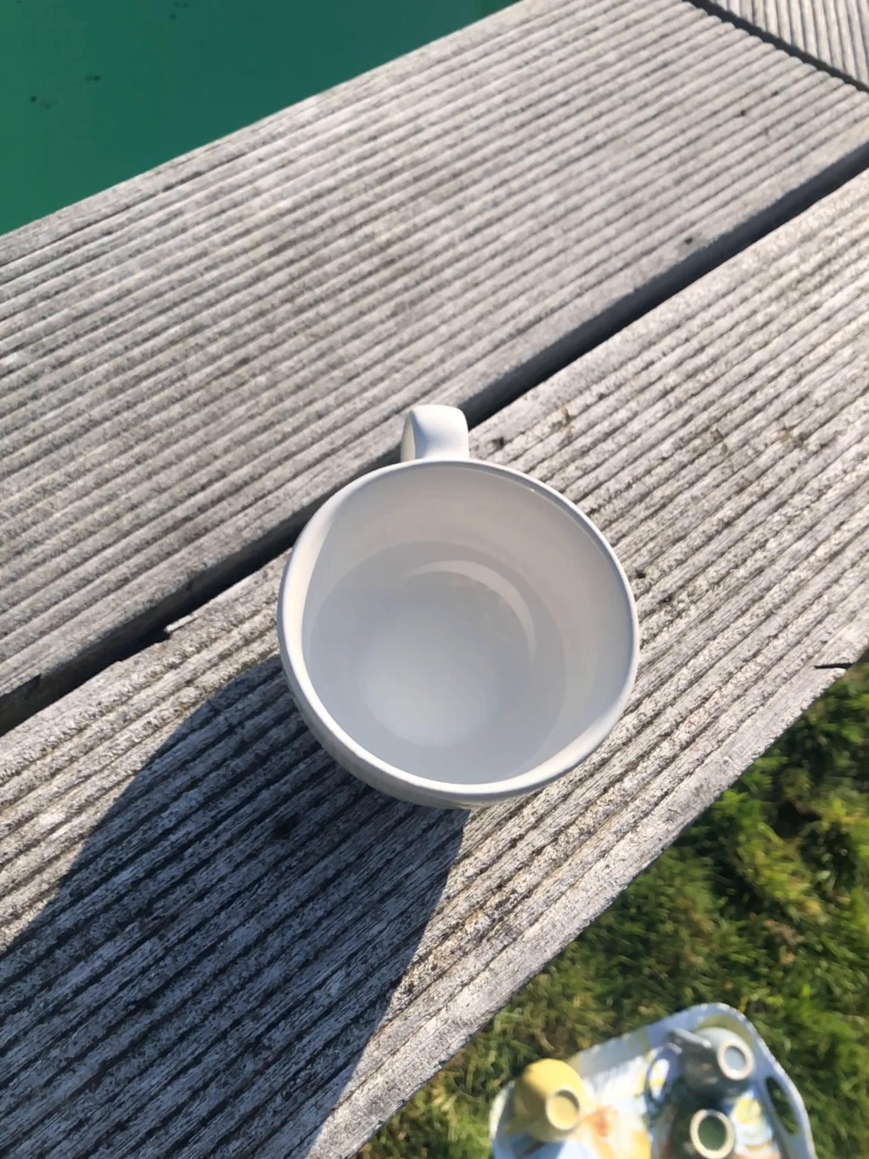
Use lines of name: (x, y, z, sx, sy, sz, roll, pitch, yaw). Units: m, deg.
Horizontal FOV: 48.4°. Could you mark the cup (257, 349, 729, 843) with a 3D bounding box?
cup: (0.009, 0.001, 0.259, 0.104, 0.038, 0.121, -2, 69, -13)
